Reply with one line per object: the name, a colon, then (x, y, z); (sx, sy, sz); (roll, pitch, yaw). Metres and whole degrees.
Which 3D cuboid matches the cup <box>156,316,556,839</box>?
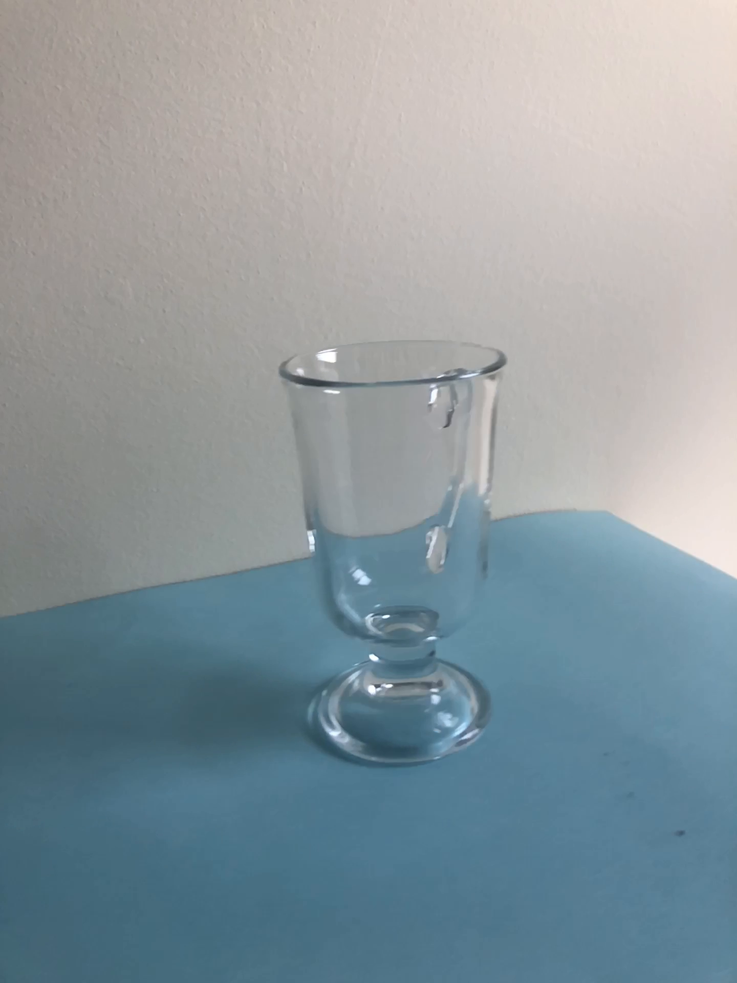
cup: (0.004, 0.015, 0.254); (0.070, 0.119, 0.101); (10, 24, 33)
